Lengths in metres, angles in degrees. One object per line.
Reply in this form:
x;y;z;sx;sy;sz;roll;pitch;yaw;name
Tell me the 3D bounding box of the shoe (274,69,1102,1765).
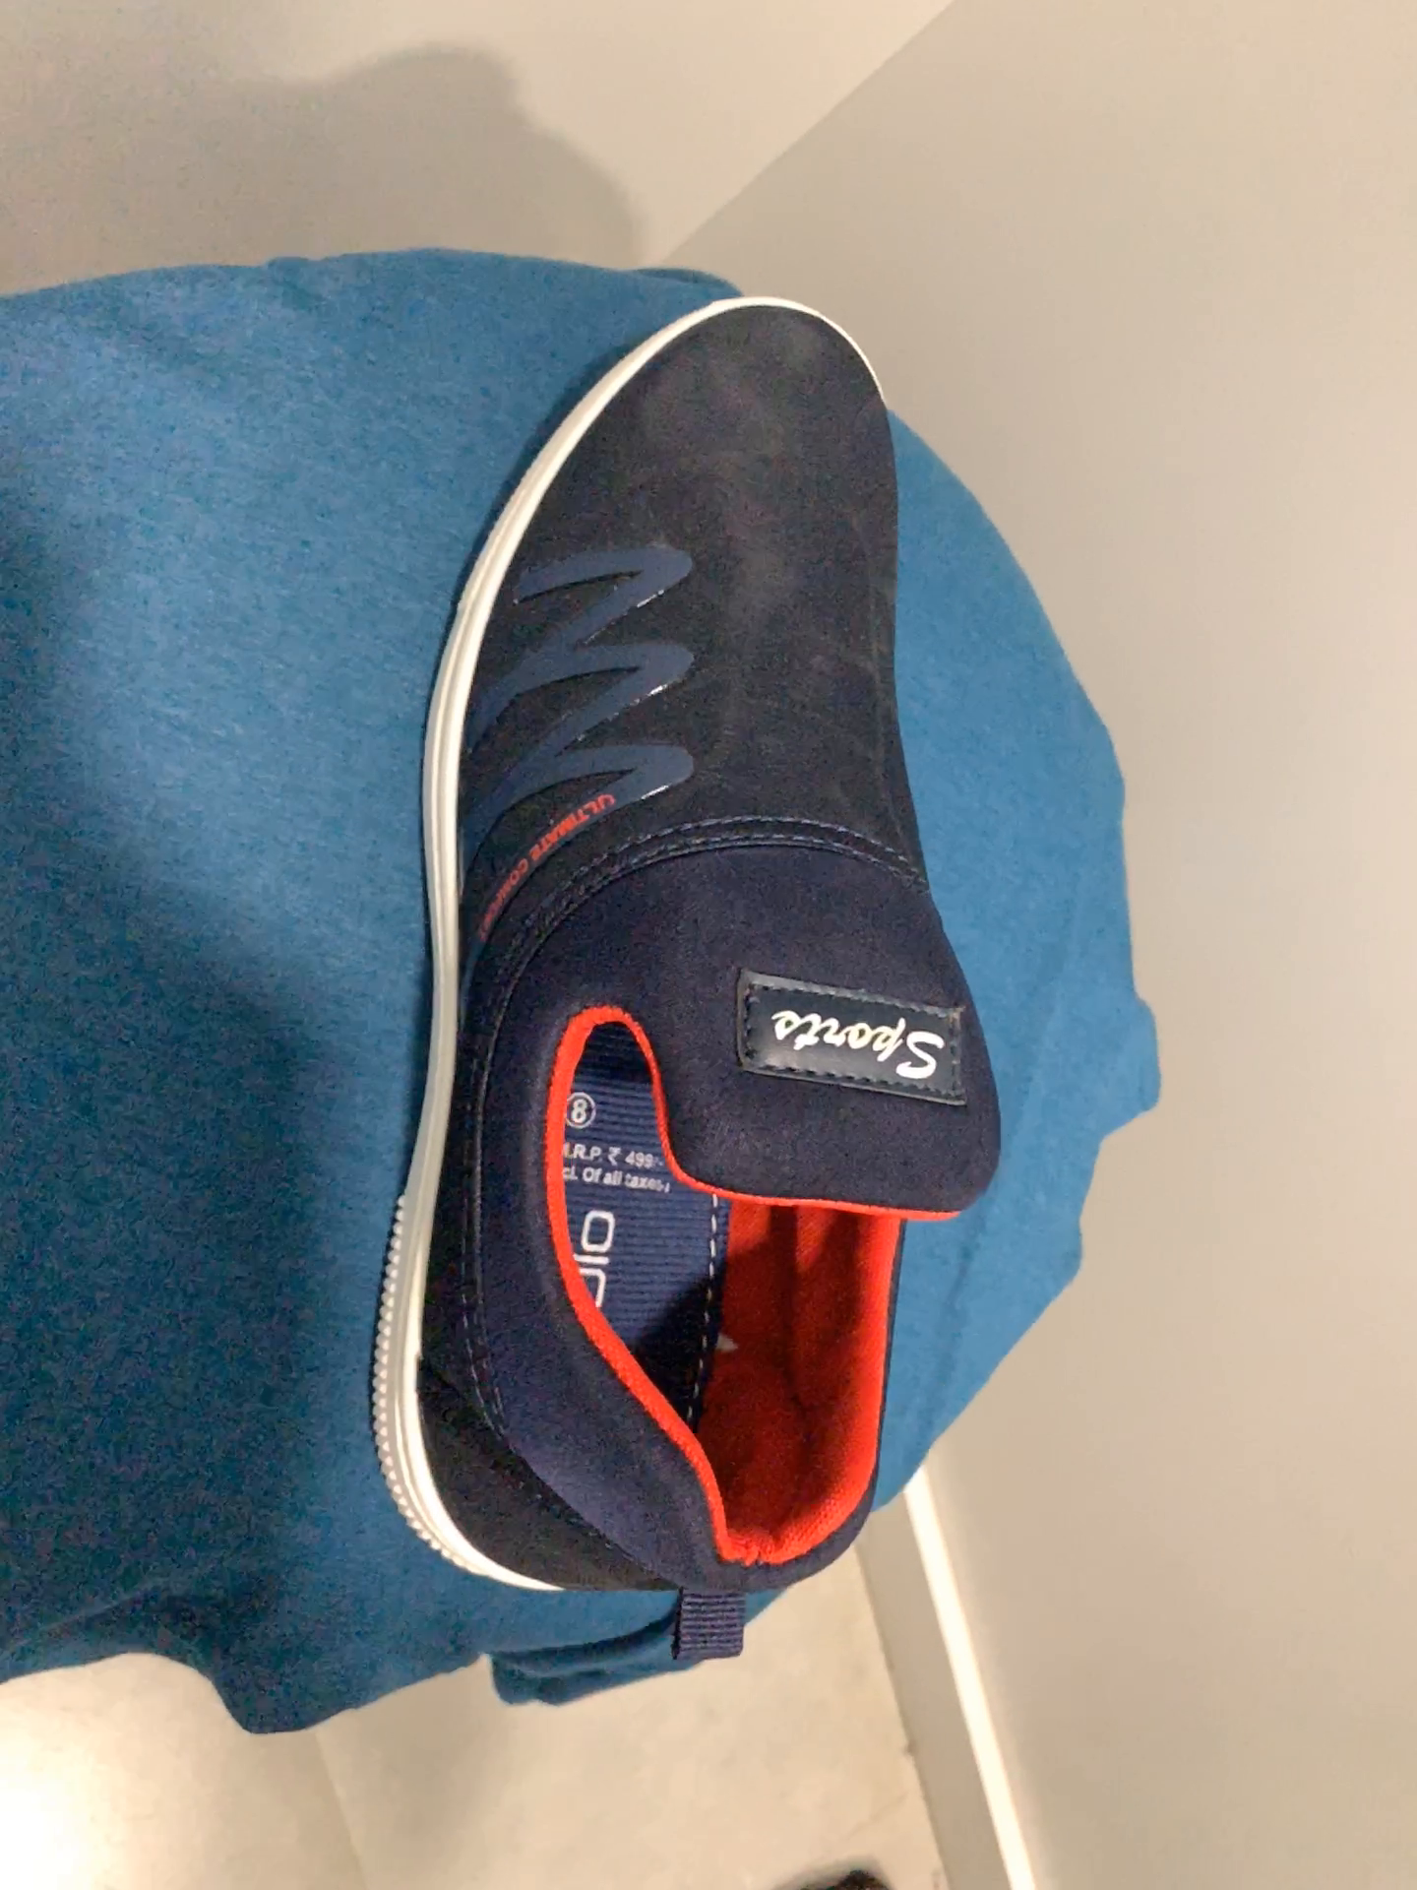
-0.006;-0.003;0.286;0.090;0.100;0.260;11;84;-29;shoe
